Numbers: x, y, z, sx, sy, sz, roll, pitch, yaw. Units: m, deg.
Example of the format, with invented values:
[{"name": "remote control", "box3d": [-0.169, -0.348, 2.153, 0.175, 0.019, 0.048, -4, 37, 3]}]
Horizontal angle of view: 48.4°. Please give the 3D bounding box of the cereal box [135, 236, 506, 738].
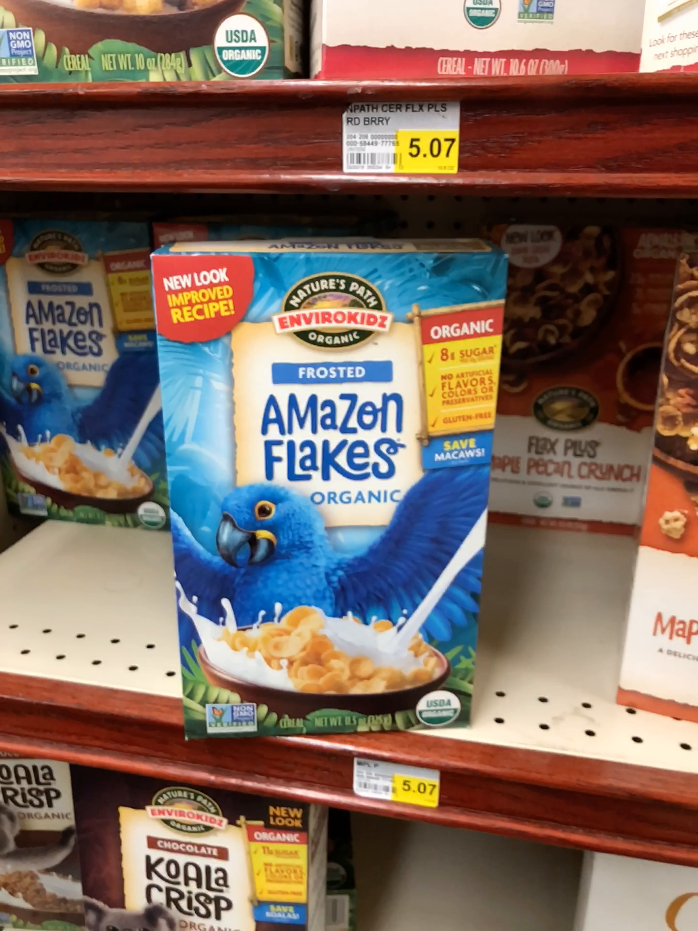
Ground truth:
[{"name": "cereal box", "box3d": [-0.013, 0.017, 0.413, 0.160, 0.259, 0.060, -2, 23, -3]}]
